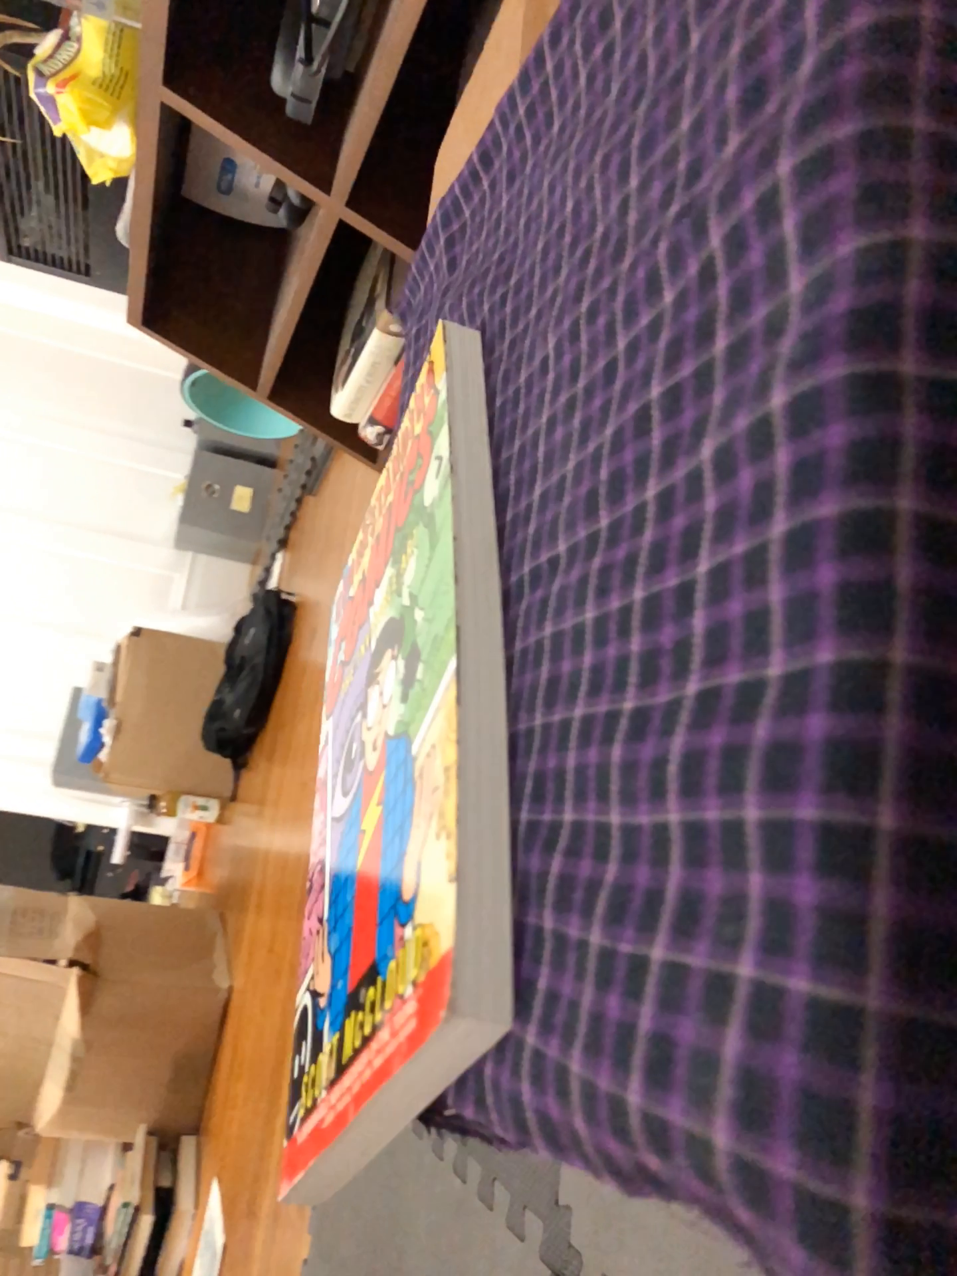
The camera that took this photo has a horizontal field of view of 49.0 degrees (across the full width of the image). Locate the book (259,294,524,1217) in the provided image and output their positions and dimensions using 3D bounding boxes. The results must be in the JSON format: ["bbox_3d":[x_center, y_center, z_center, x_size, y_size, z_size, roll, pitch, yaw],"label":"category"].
[{"bbox_3d":[-0.034,0.030,0.364,0.170,0.020,0.271,120,156,-45],"label":"book"}]
